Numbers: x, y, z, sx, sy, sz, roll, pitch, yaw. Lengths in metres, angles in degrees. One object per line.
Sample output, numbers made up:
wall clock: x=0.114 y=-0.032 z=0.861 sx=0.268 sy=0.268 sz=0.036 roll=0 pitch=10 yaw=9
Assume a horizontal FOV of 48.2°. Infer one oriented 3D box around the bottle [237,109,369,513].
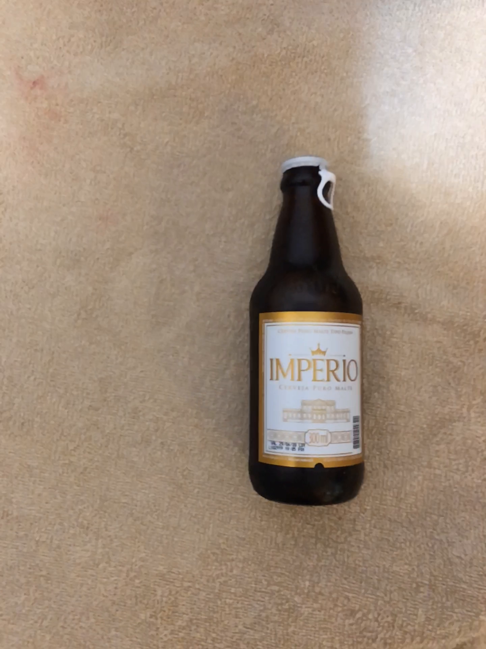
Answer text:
bottle: x=0.030 y=-0.007 z=0.286 sx=0.060 sy=0.060 sz=0.190 roll=0 pitch=85 yaw=4
